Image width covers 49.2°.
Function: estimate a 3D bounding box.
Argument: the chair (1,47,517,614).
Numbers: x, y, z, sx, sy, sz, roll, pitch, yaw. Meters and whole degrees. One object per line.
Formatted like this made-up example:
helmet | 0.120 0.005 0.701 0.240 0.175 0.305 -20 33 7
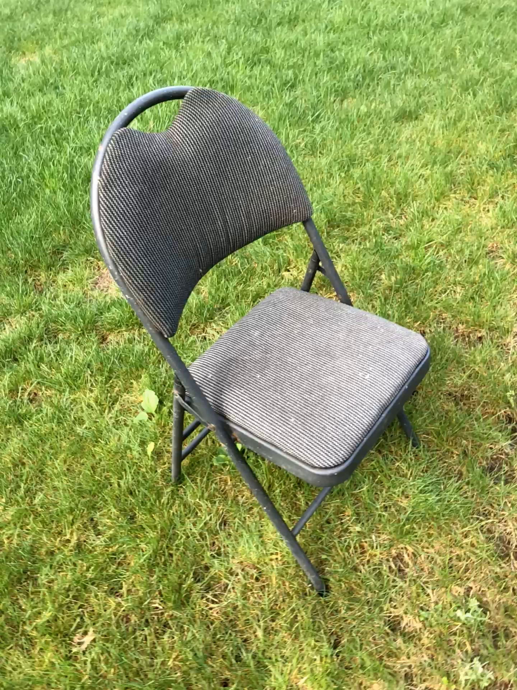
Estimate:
chair | 0.042 -0.026 1.114 0.572 0.814 0.532 27 54 30
